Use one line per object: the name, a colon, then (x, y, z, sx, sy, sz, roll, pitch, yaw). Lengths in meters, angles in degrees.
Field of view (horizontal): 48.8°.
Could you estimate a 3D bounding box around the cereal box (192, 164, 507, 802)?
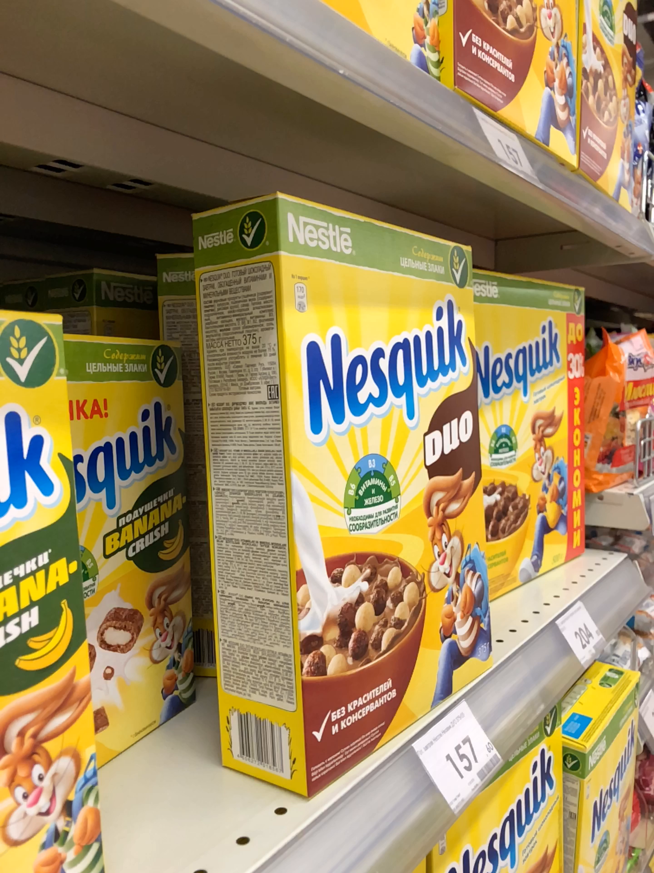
cereal box: (0.027, 0.016, 0.412, 0.060, 0.280, 0.200, -2, 2, 38)
